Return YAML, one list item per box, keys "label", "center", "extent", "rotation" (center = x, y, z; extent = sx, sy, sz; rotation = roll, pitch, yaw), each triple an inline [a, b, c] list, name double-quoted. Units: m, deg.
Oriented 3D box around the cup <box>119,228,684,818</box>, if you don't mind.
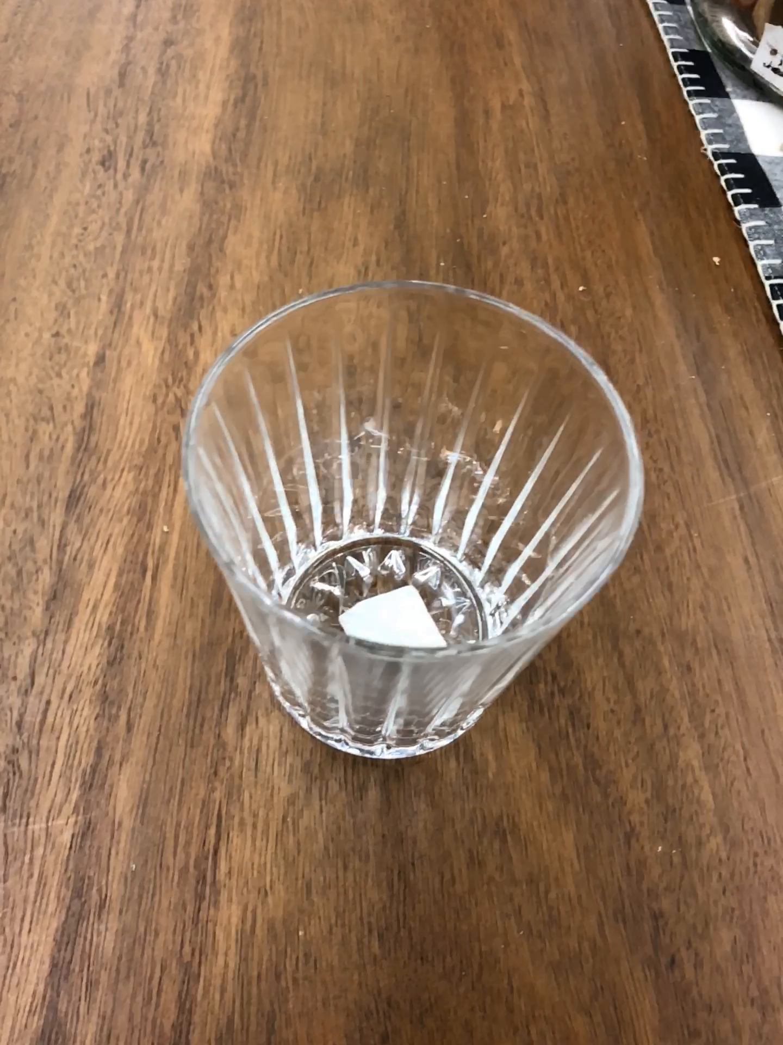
- label: "cup"
  center: [0.005, 0.004, 0.217]
  extent: [0.093, 0.093, 0.089]
  rotation: [1, 58, -2]
